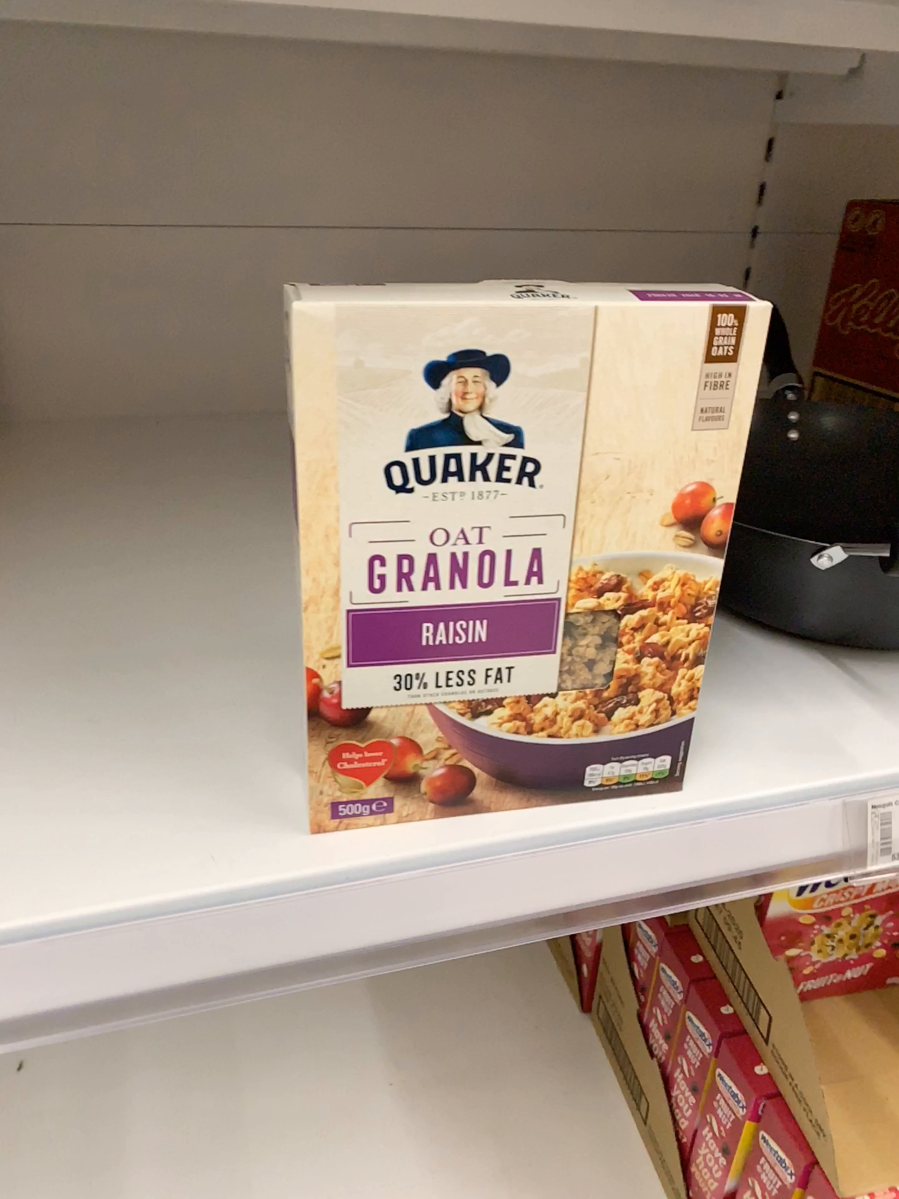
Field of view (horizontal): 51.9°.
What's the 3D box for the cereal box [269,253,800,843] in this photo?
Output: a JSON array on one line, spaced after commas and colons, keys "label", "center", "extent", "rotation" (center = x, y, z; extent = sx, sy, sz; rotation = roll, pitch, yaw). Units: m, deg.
[{"label": "cereal box", "center": [0.027, -0.020, 0.418], "extent": [0.200, 0.248, 0.061], "rotation": [-4, 27, -13]}]
